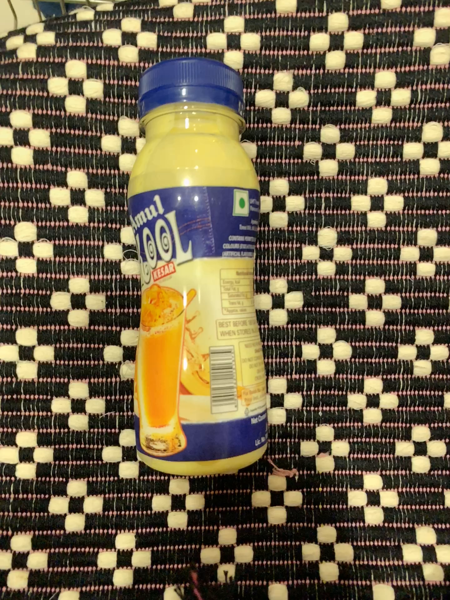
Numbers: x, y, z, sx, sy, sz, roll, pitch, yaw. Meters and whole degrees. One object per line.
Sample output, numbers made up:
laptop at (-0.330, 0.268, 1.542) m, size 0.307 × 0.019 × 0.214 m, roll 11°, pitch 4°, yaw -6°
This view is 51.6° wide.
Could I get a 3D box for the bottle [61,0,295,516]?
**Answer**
bottle at (-0.018, -0.020, 0.172) m, size 0.060 × 0.060 × 0.160 m, roll 1°, pitch 88°, yaw -45°
